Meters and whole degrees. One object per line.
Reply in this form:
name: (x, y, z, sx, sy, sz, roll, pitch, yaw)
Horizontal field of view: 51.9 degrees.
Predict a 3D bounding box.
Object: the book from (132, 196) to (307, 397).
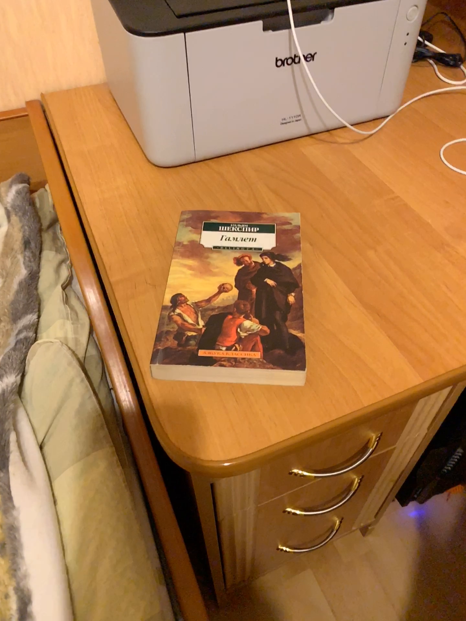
book: (-0.002, -0.023, 0.399, 0.120, 0.030, 0.191, 3, 49, 3)
